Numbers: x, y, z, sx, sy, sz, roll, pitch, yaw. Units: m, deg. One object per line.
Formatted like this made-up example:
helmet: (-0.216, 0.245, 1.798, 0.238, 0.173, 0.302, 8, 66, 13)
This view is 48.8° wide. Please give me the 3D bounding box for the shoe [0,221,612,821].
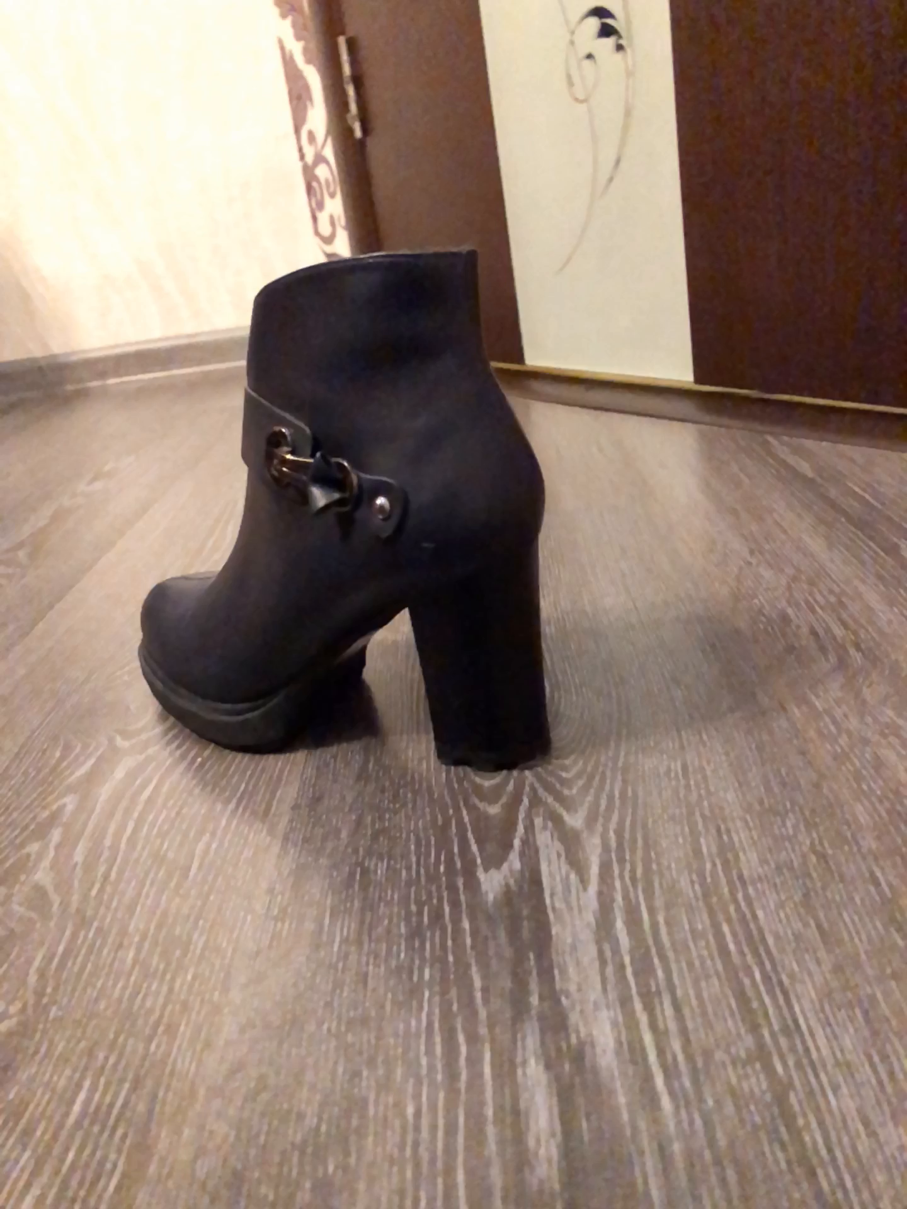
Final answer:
shoe: (-0.070, -0.042, 0.422, 0.230, 0.189, 0.110, 6, 26, 32)
